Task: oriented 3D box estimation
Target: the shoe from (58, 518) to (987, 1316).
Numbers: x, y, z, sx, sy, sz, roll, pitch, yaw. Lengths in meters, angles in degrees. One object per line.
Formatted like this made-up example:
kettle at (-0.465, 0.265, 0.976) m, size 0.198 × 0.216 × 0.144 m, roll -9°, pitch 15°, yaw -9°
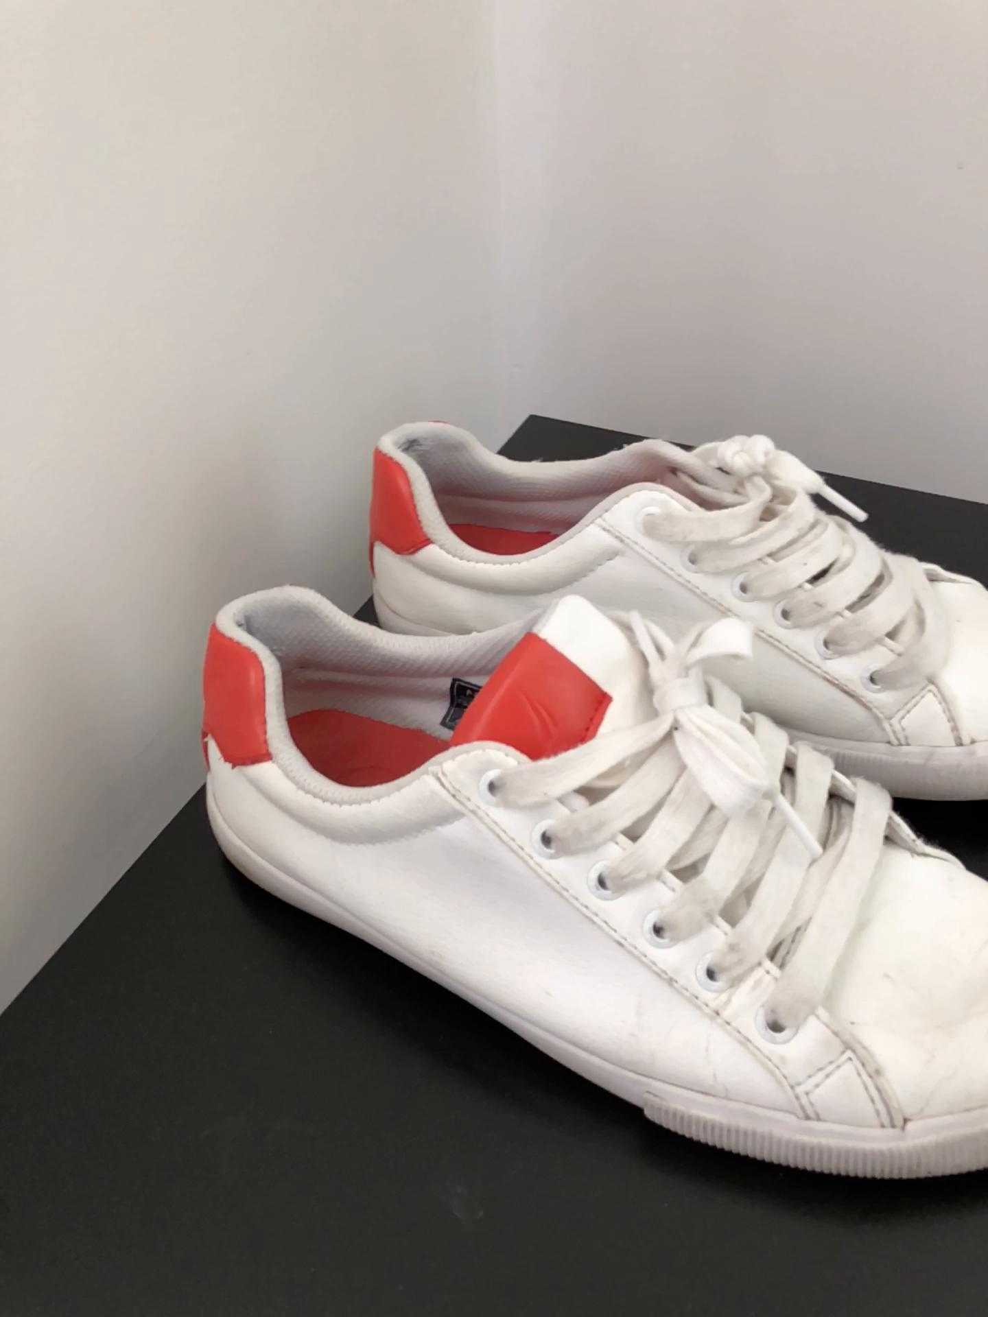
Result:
shoe at (0.037, 0.048, 0.259) m, size 0.235 × 0.080 × 0.103 m, roll 13°, pitch 42°, yaw 17°

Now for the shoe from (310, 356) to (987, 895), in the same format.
shoe at (0.073, -0.021, 0.342) m, size 0.230 × 0.080 × 0.100 m, roll 13°, pitch 42°, yaw 17°
